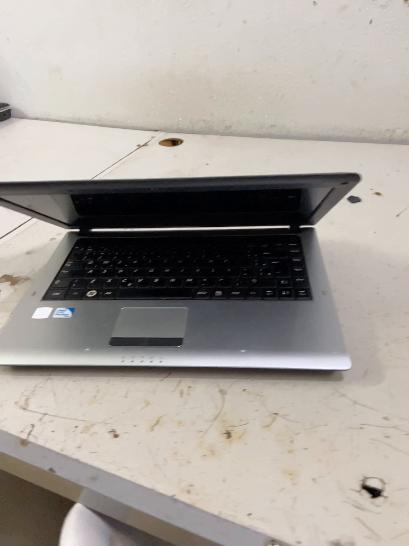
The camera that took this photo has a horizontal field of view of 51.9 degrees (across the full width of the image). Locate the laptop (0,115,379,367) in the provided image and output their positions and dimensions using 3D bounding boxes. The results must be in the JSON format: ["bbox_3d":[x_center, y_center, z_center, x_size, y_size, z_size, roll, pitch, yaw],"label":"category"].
[{"bbox_3d":[-0.034,-0.048,0.442,0.333,0.152,0.242,0,35,5],"label":"laptop"}]
